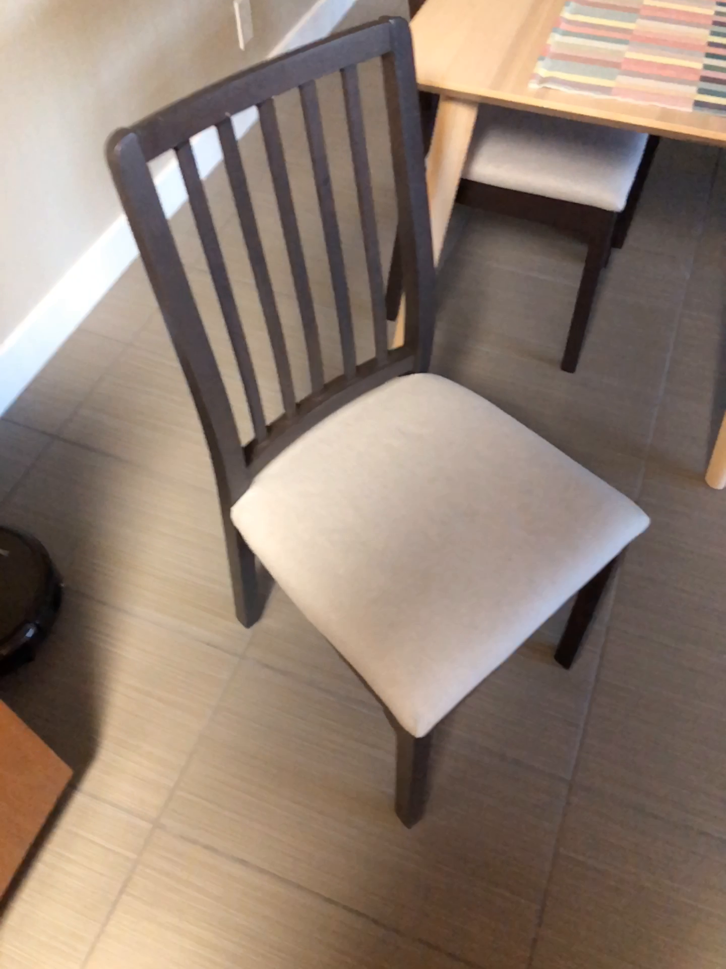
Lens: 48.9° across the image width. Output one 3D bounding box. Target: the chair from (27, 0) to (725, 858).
[{"bbox_3d":[0.036,0.041,1.168,0.481,1.126,0.511,-33,59,-22],"label":"chair"}]
